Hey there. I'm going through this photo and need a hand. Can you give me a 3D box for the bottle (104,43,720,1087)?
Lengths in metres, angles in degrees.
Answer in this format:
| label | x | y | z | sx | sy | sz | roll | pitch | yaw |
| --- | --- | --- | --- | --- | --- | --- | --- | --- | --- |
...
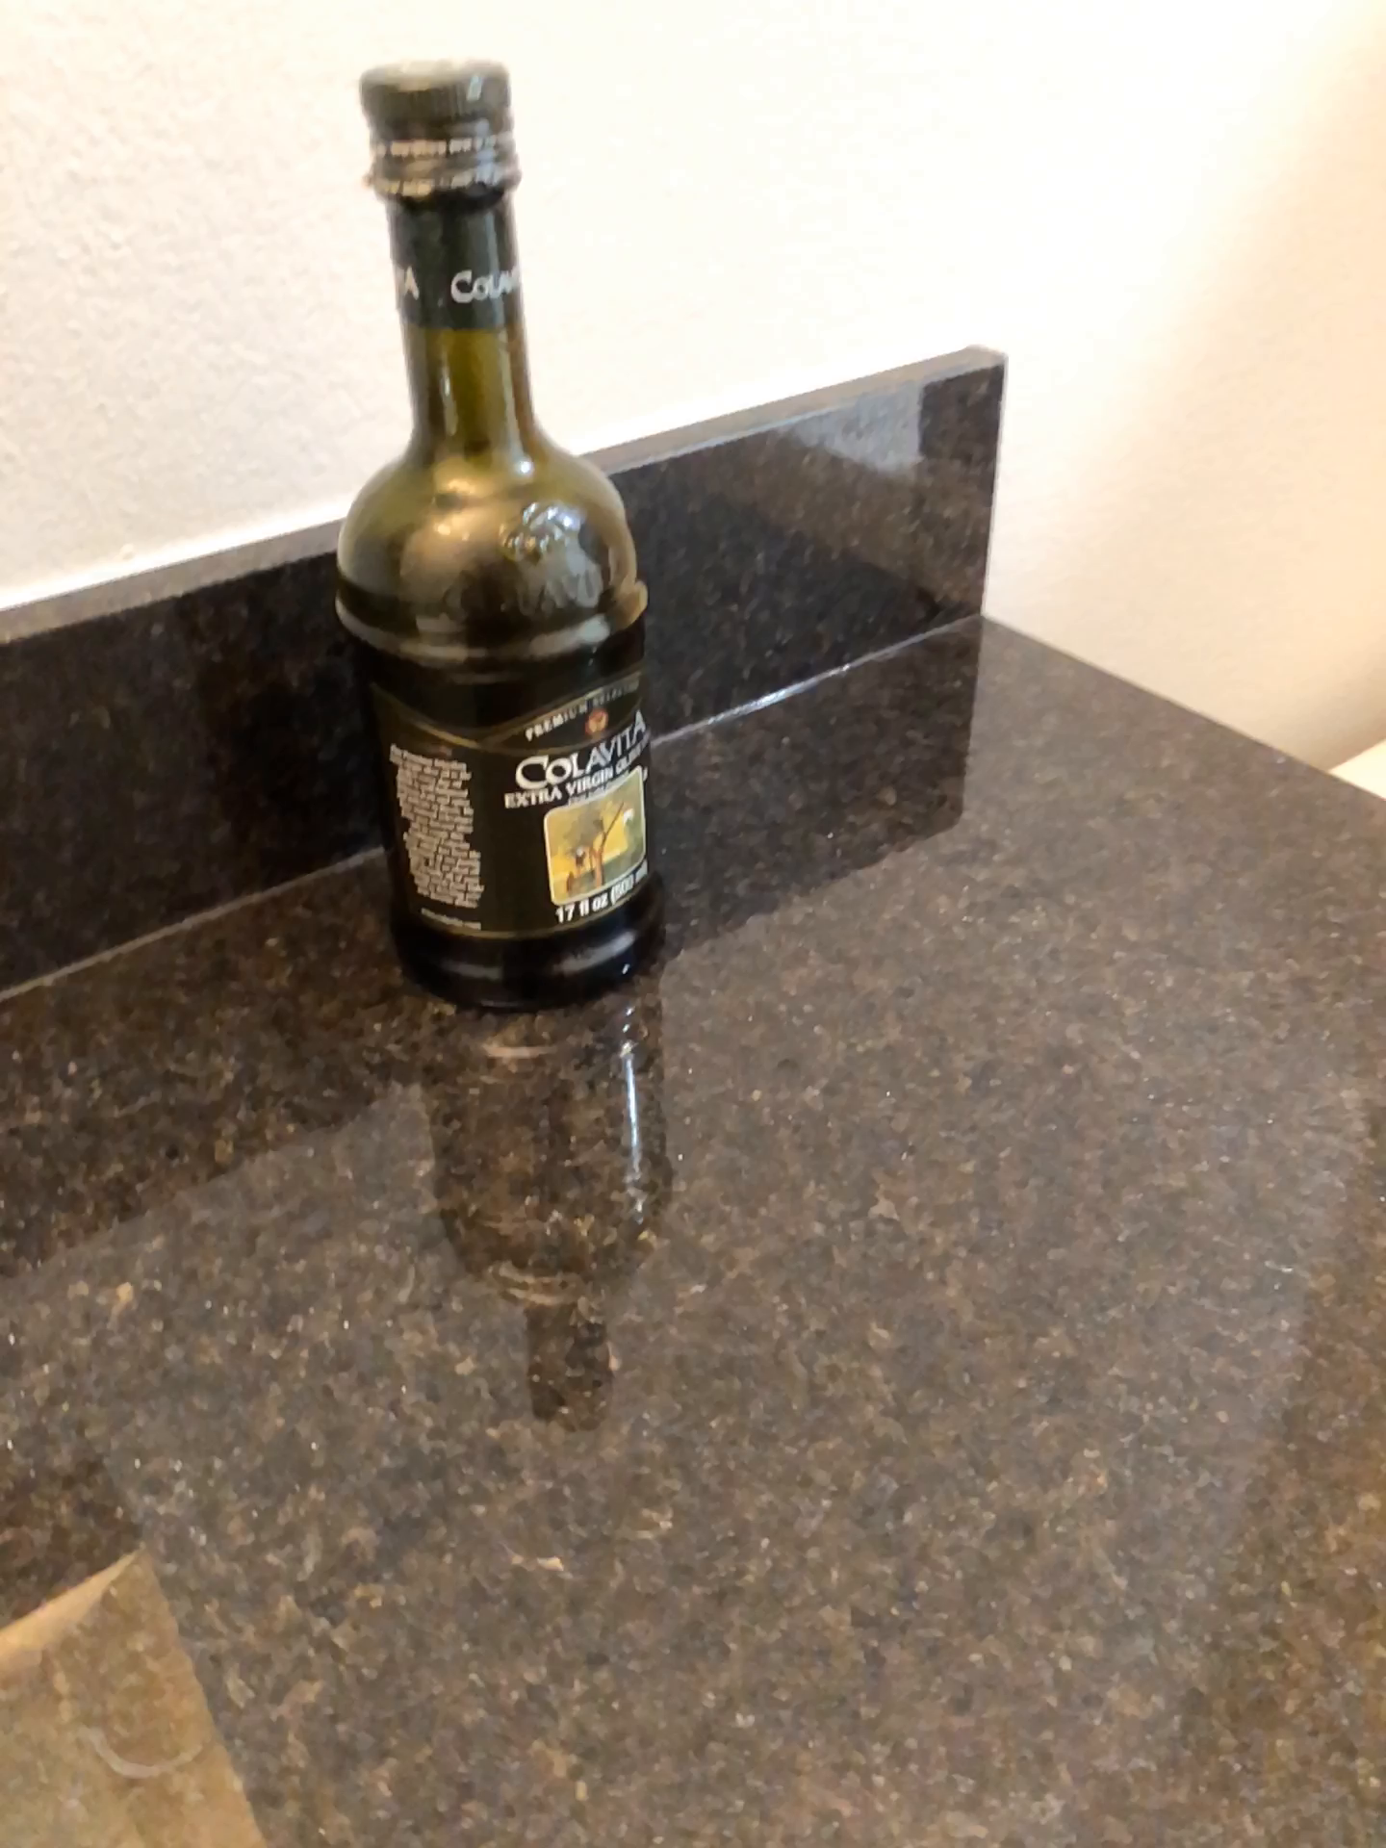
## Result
| label | x | y | z | sx | sy | sz | roll | pitch | yaw |
| --- | --- | --- | --- | --- | --- | --- | --- | --- | --- |
| bottle | -0.057 | -0.084 | 0.381 | 0.090 | 0.219 | 0.090 | -1 | 36 | 0 |
